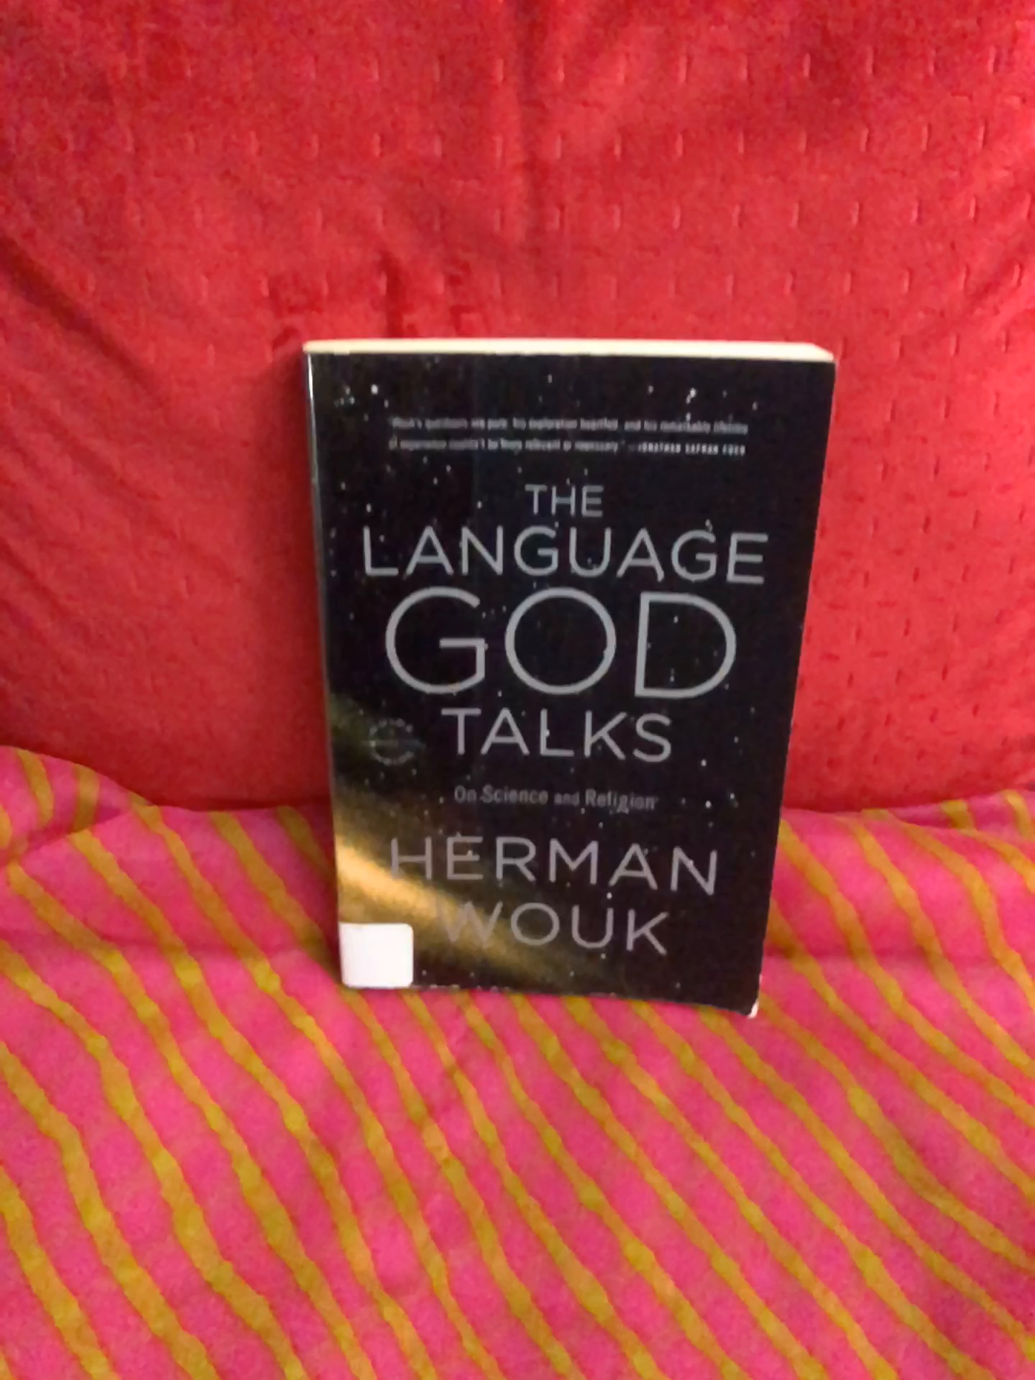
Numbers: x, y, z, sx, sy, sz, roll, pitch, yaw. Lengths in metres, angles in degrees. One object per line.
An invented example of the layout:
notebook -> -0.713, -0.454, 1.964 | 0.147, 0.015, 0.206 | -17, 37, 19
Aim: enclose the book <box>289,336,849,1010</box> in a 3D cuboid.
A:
book -> 0.011, 0.003, 0.339 | 0.138, 0.199, 0.030 | 2, 25, 2
